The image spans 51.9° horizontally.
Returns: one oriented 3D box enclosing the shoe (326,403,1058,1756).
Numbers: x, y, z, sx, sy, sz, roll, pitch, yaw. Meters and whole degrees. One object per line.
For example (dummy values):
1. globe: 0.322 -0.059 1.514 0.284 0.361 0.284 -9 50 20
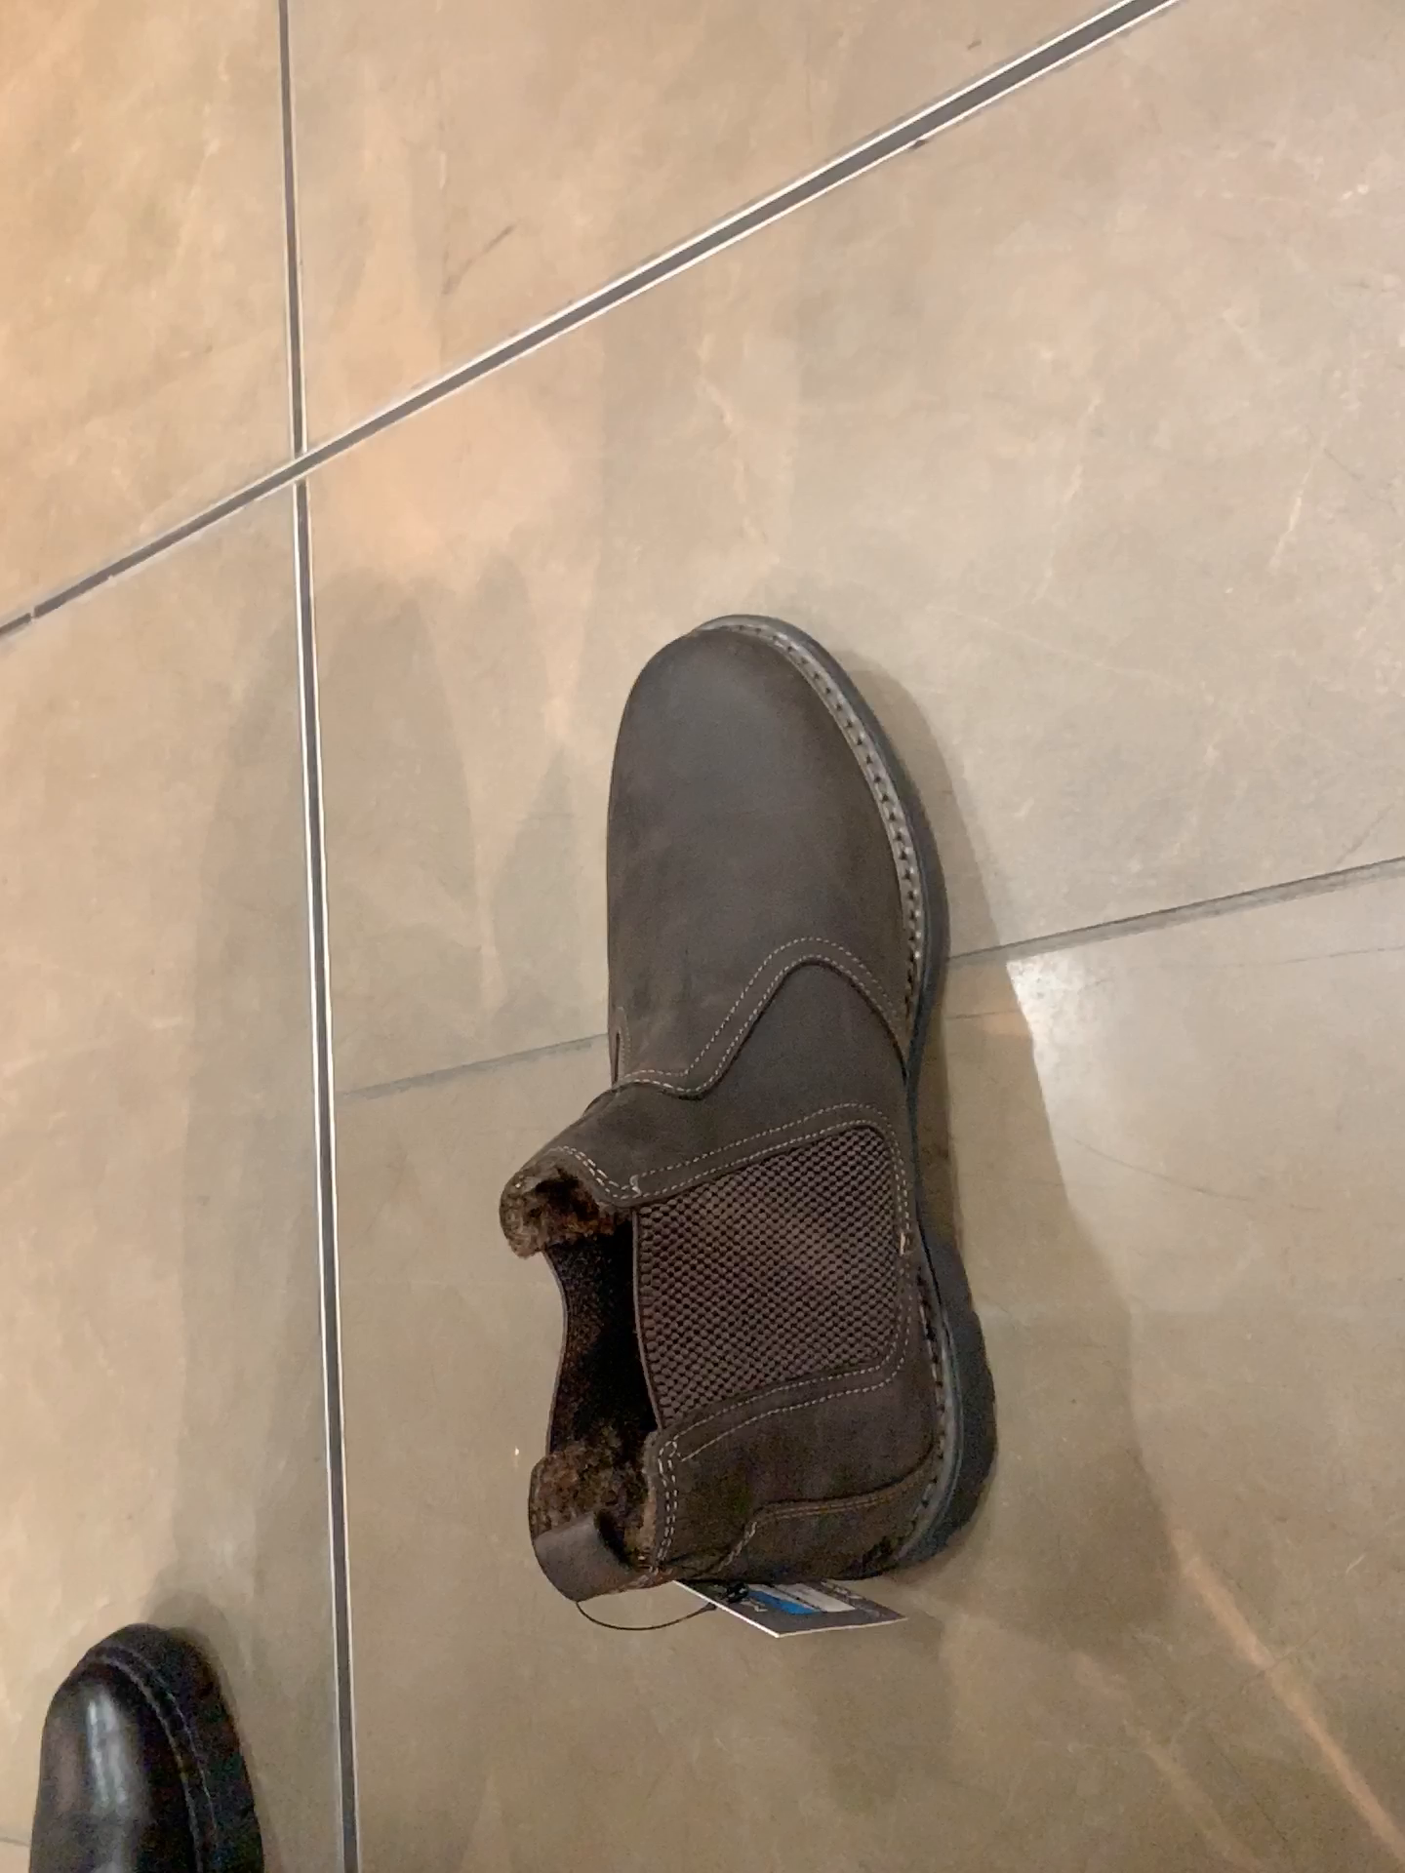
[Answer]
1. shoe: -0.003 0.039 0.419 0.114 0.165 0.304 -14 73 31
